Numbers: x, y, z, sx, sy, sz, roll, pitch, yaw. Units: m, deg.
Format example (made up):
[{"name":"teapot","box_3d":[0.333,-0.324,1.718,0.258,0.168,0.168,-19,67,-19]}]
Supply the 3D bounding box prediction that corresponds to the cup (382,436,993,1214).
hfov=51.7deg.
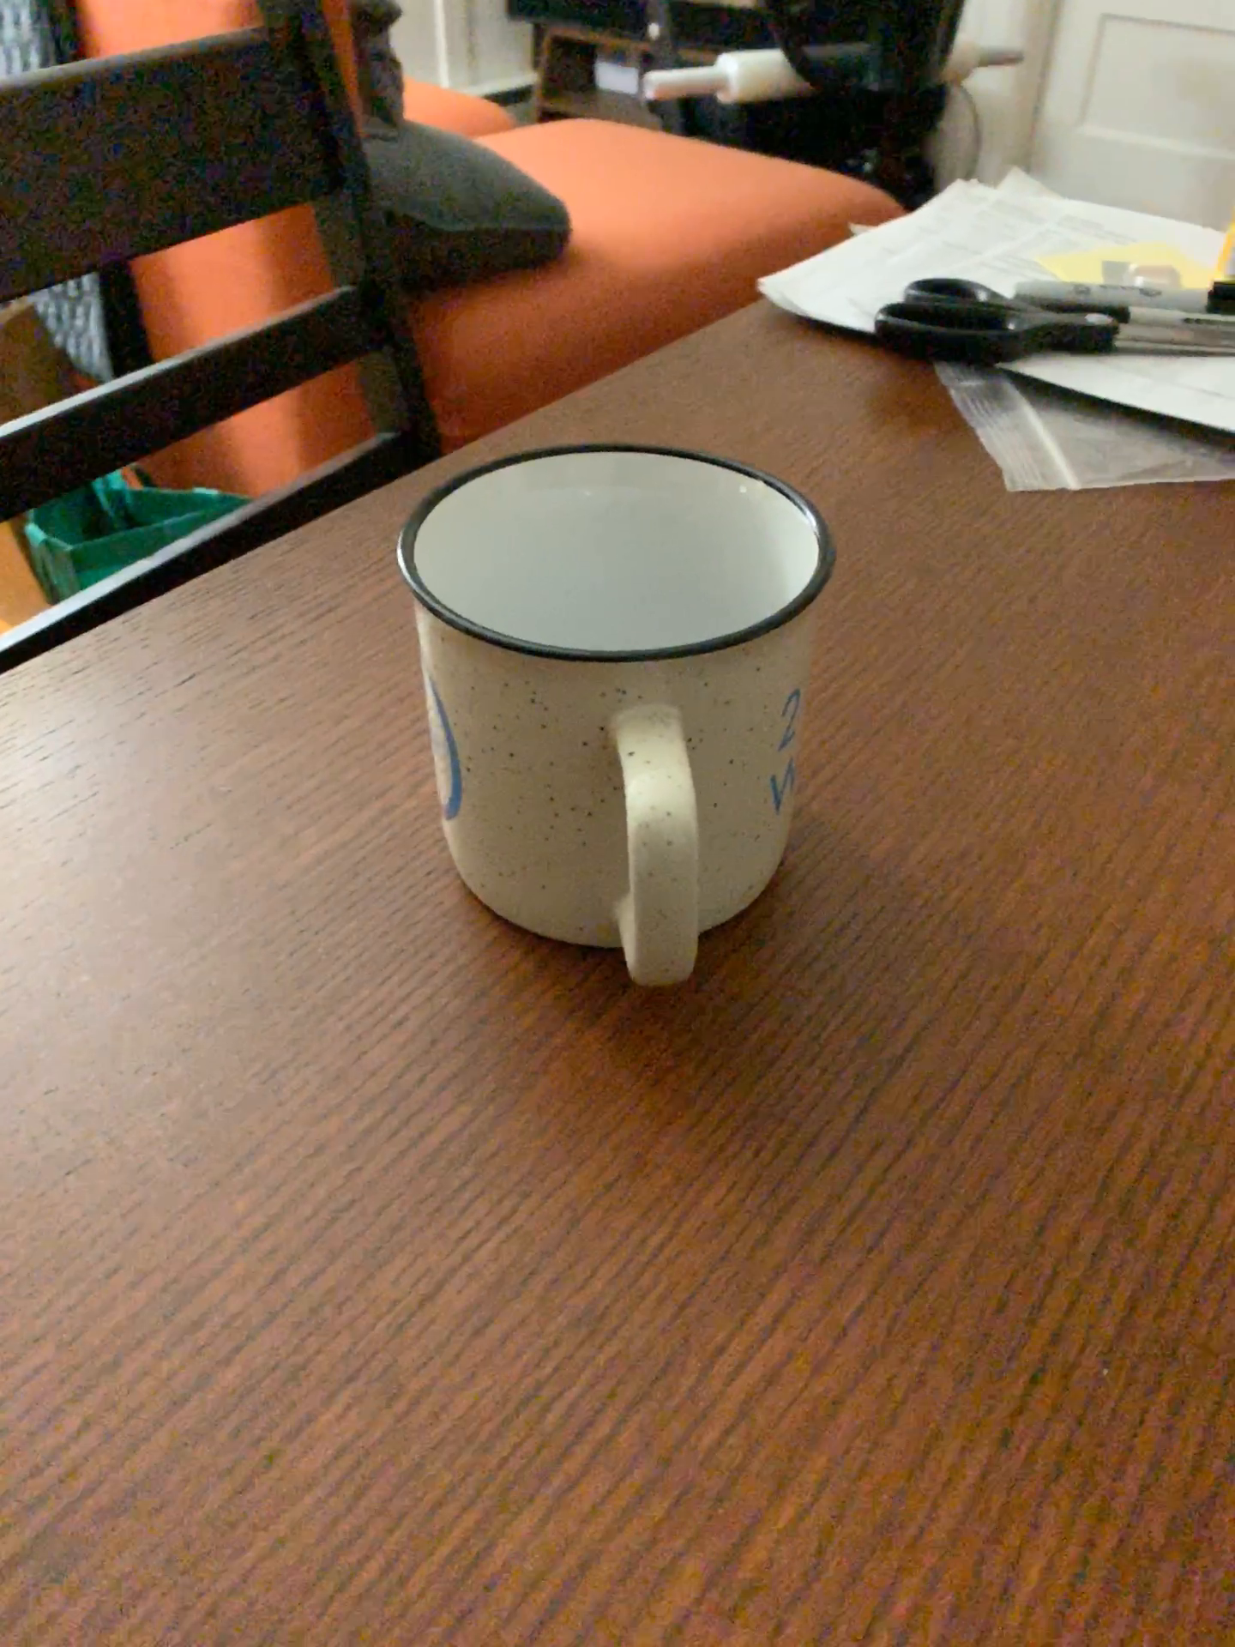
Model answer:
[{"name":"cup","box_3d":[0.004,-0.008,0.296,0.100,0.099,0.151,-4,41,-5]}]
